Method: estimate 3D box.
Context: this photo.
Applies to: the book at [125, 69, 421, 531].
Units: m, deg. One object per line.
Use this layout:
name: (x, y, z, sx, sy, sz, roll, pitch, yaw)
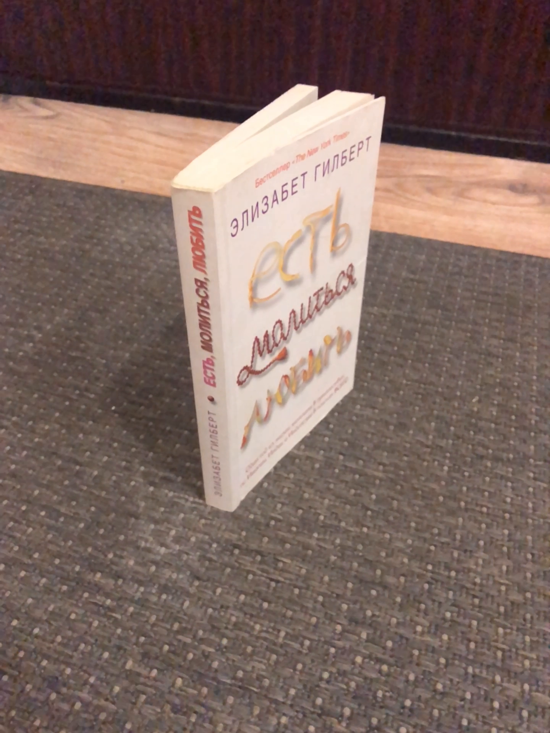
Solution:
book: (0.004, -0.038, 0.365, 0.068, 0.213, 0.161, 24, 45, 22)
